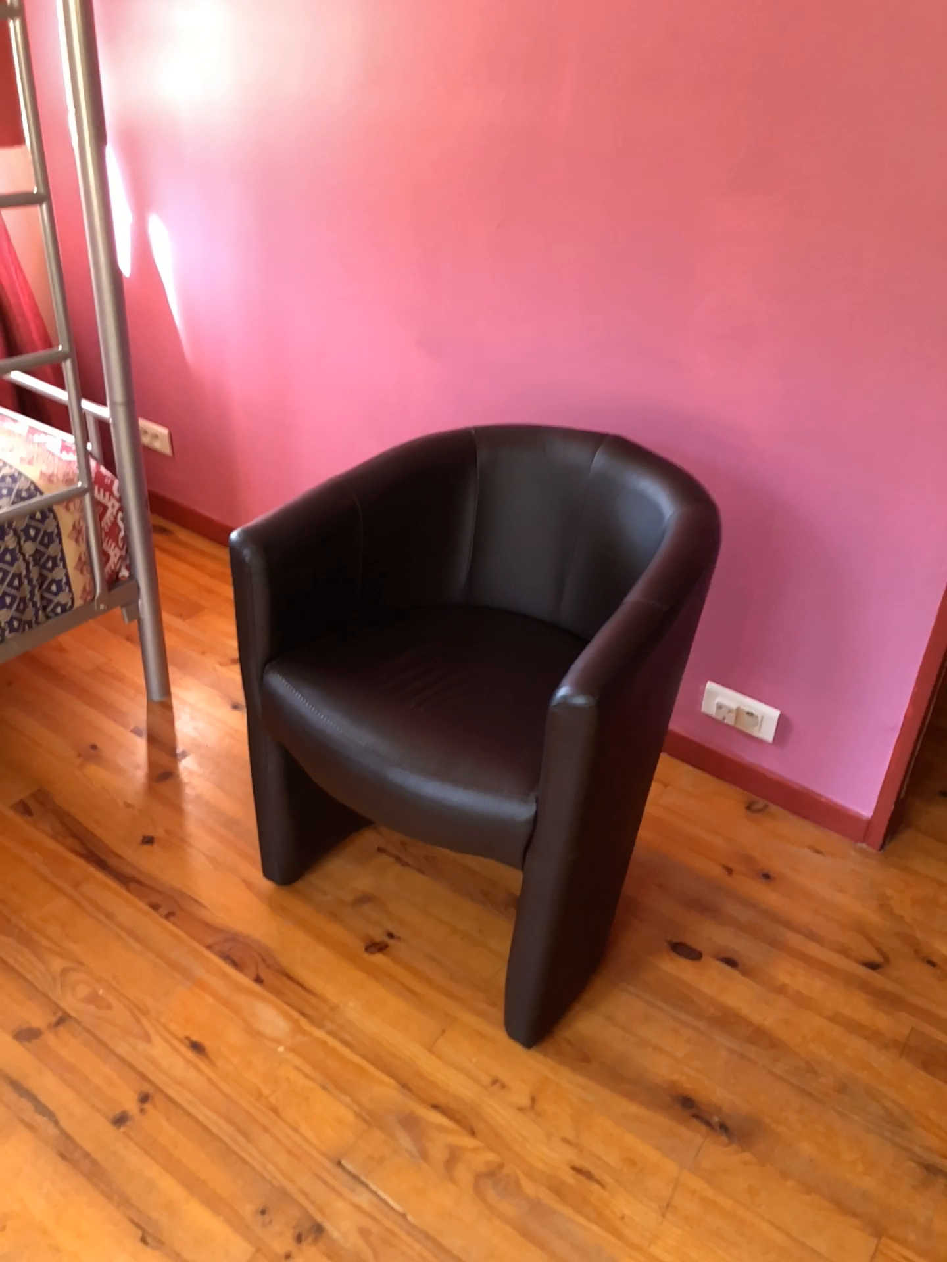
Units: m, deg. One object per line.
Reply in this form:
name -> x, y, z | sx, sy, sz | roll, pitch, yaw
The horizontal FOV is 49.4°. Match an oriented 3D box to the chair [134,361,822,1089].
chair -> 0.008, 0.069, 1.499 | 0.670, 0.646, 0.594 | 23, 37, 28
